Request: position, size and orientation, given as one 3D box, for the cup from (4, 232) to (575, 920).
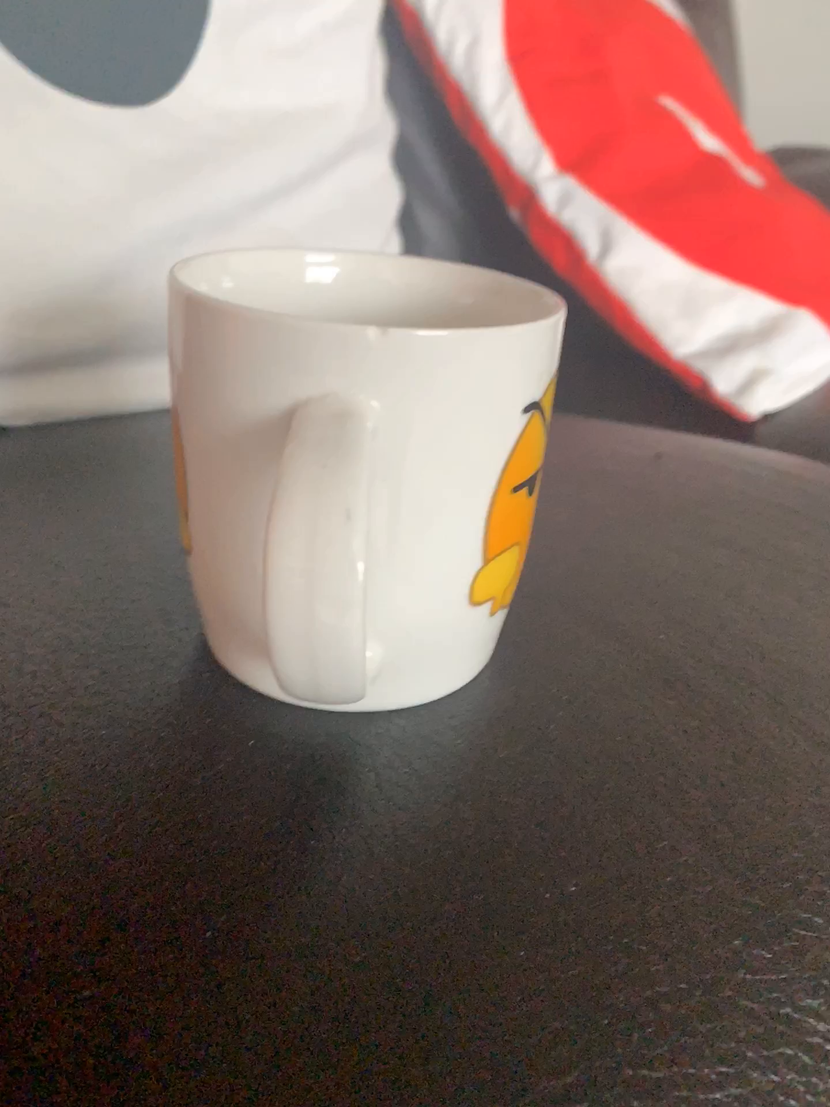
[{"bbox_3d":[-0.015,-0.010,0.194,0.080,0.099,0.121,8,25,5],"label":"cup"}]
